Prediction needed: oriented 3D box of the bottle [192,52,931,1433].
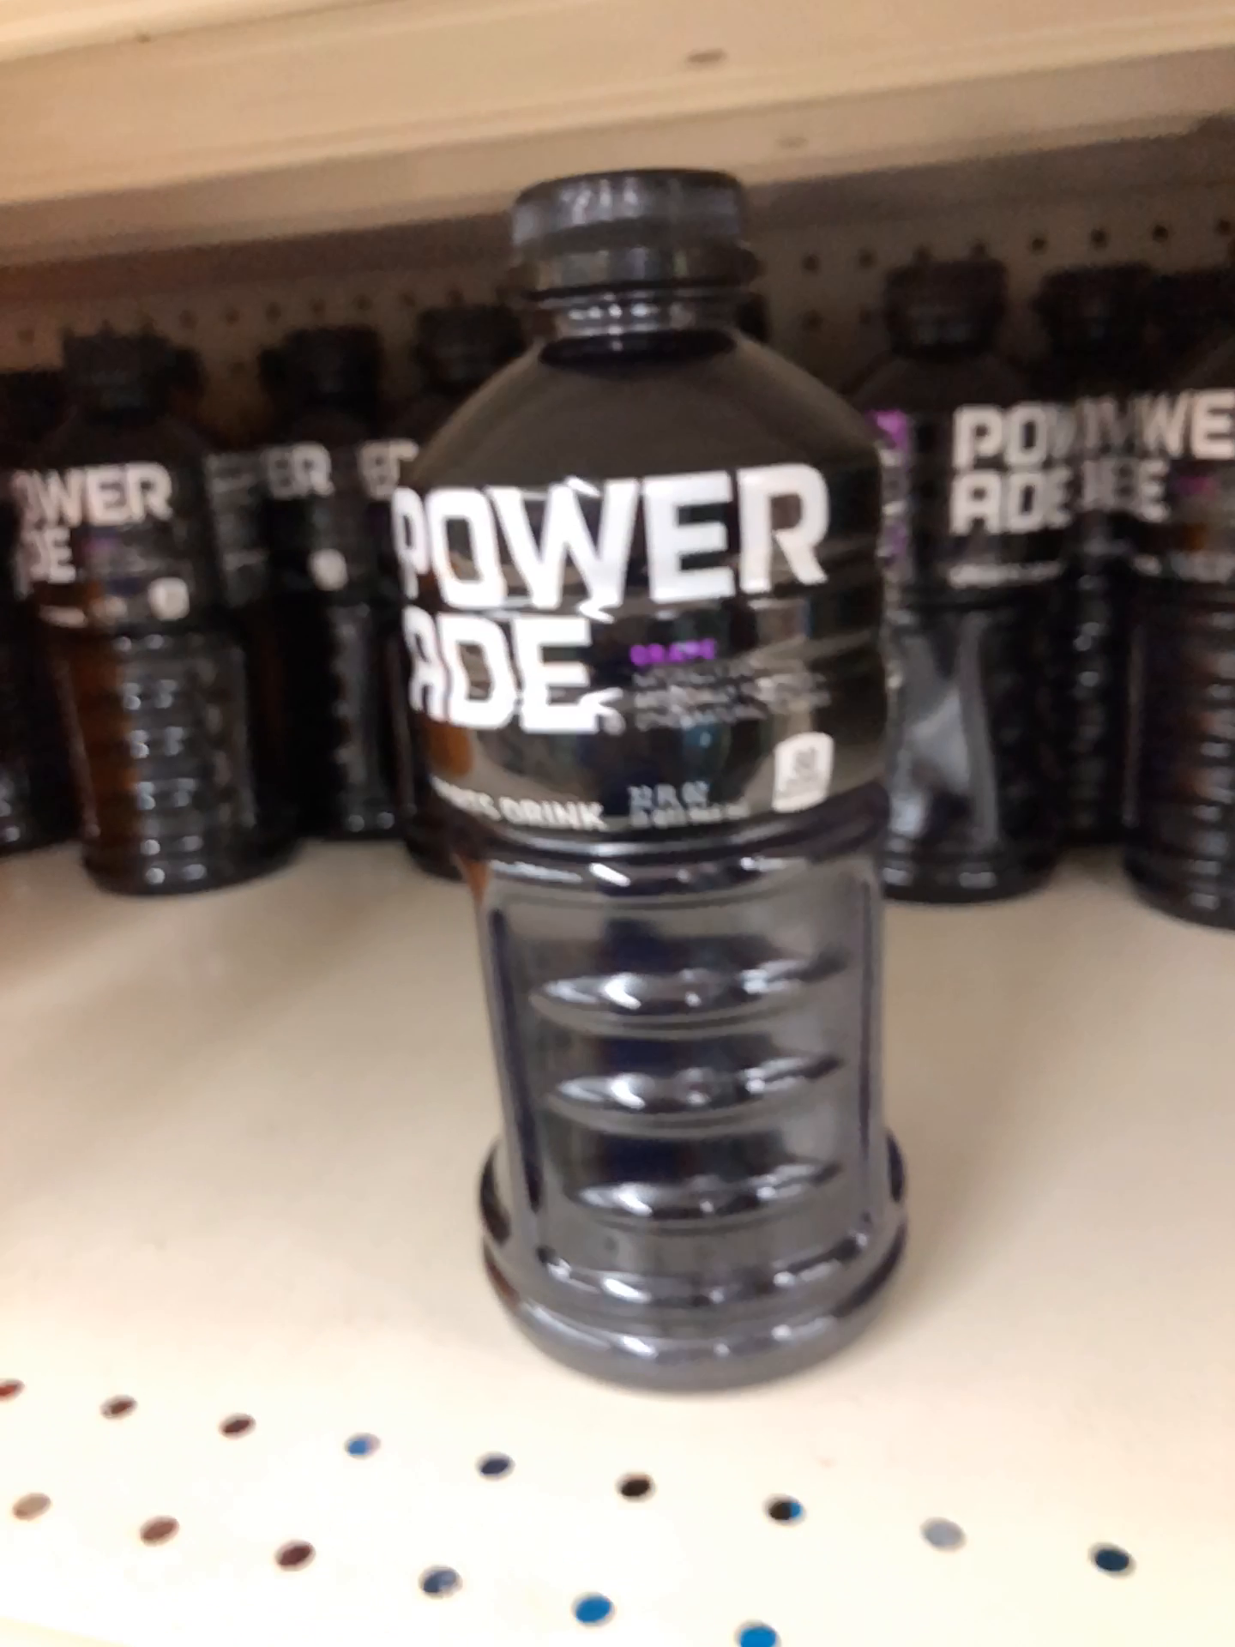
[{"bbox_3d":[0.005,-0.012,0.261,0.098,0.209,0.090,-4,18,1],"label":"bottle"}]
